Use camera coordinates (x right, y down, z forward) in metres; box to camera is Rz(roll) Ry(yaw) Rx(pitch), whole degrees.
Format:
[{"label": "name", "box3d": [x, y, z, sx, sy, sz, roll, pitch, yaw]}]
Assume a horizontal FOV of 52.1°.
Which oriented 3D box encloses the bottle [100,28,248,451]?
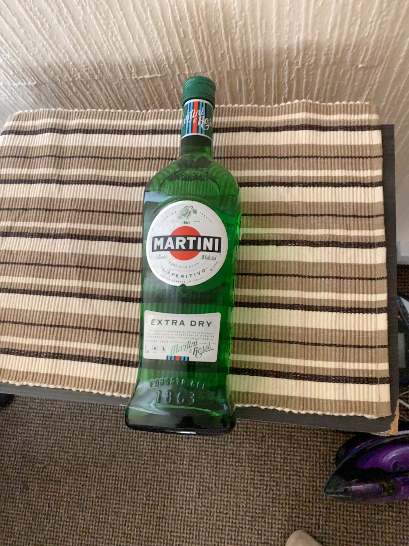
[{"label": "bottle", "box3d": [-0.016, -0.034, 0.349, 0.090, 0.070, 0.321, 1, 80, 10]}]
